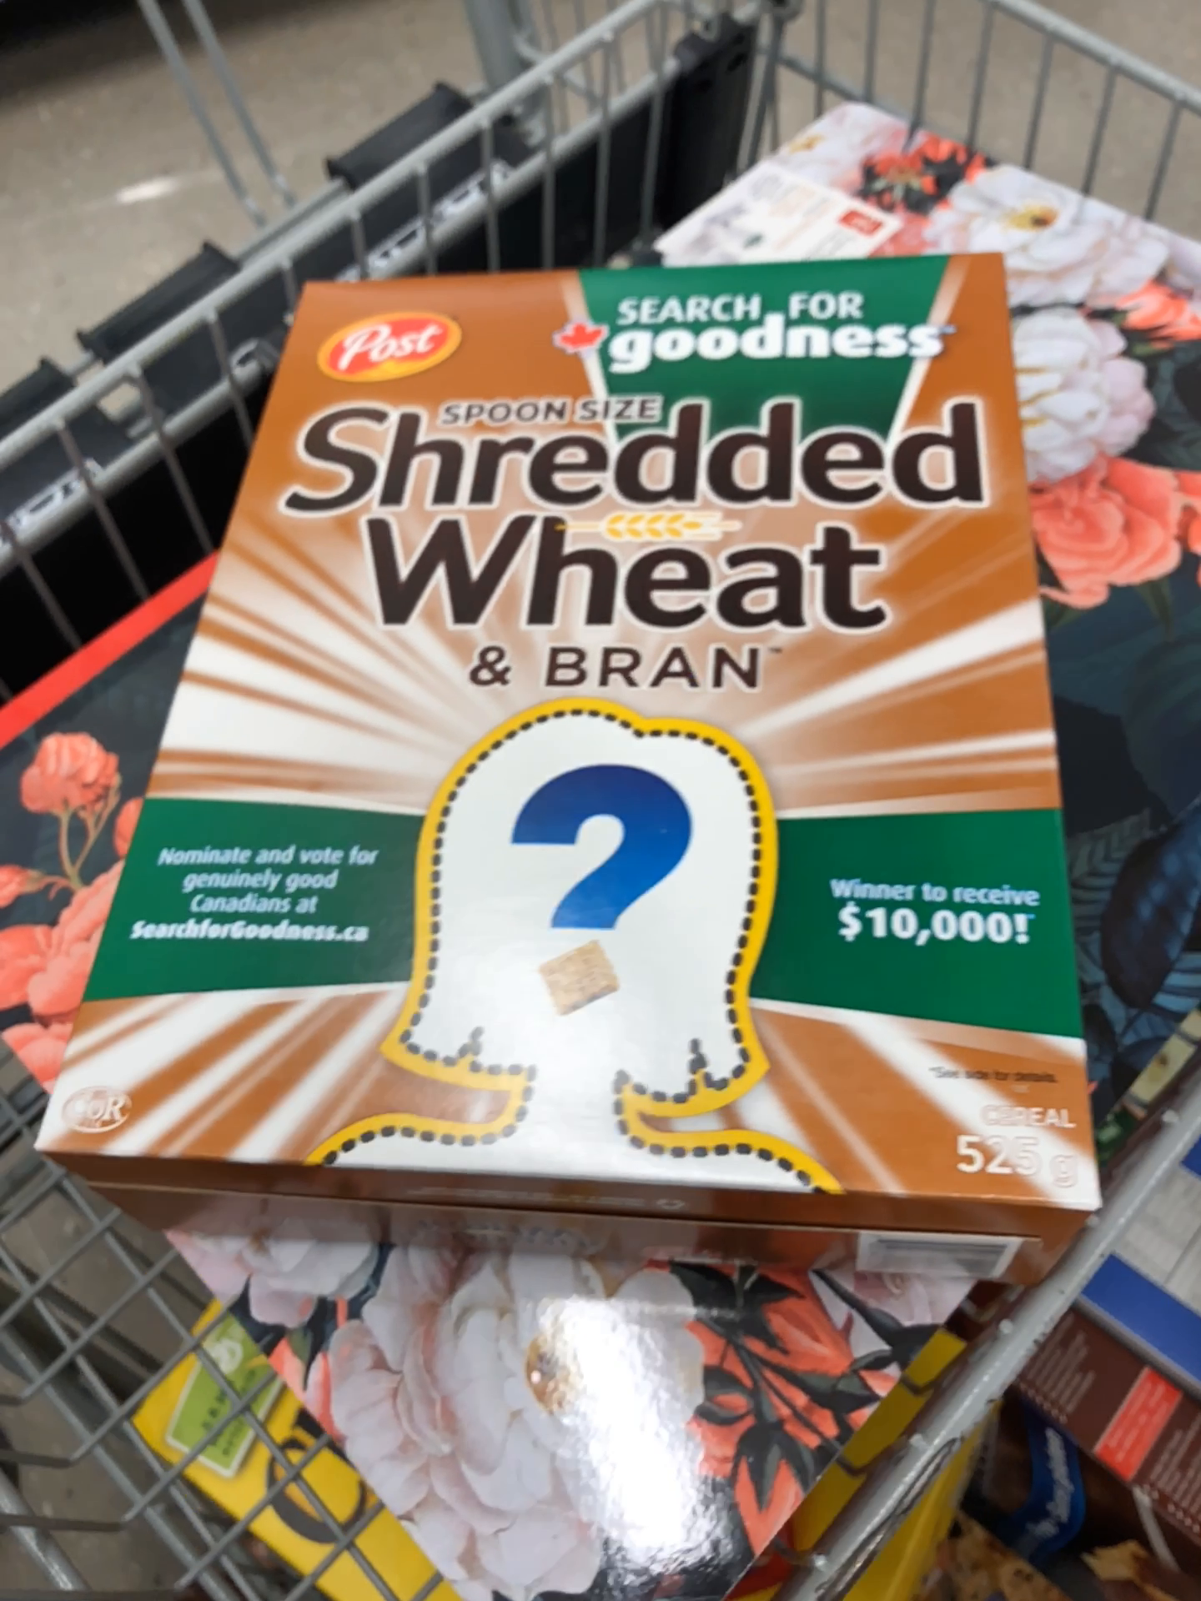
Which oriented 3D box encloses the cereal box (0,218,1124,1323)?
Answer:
[{"bbox_3d":[-0.001,-0.034,0.361,0.220,0.070,0.300,2,56,7],"label":"cereal box"}]
